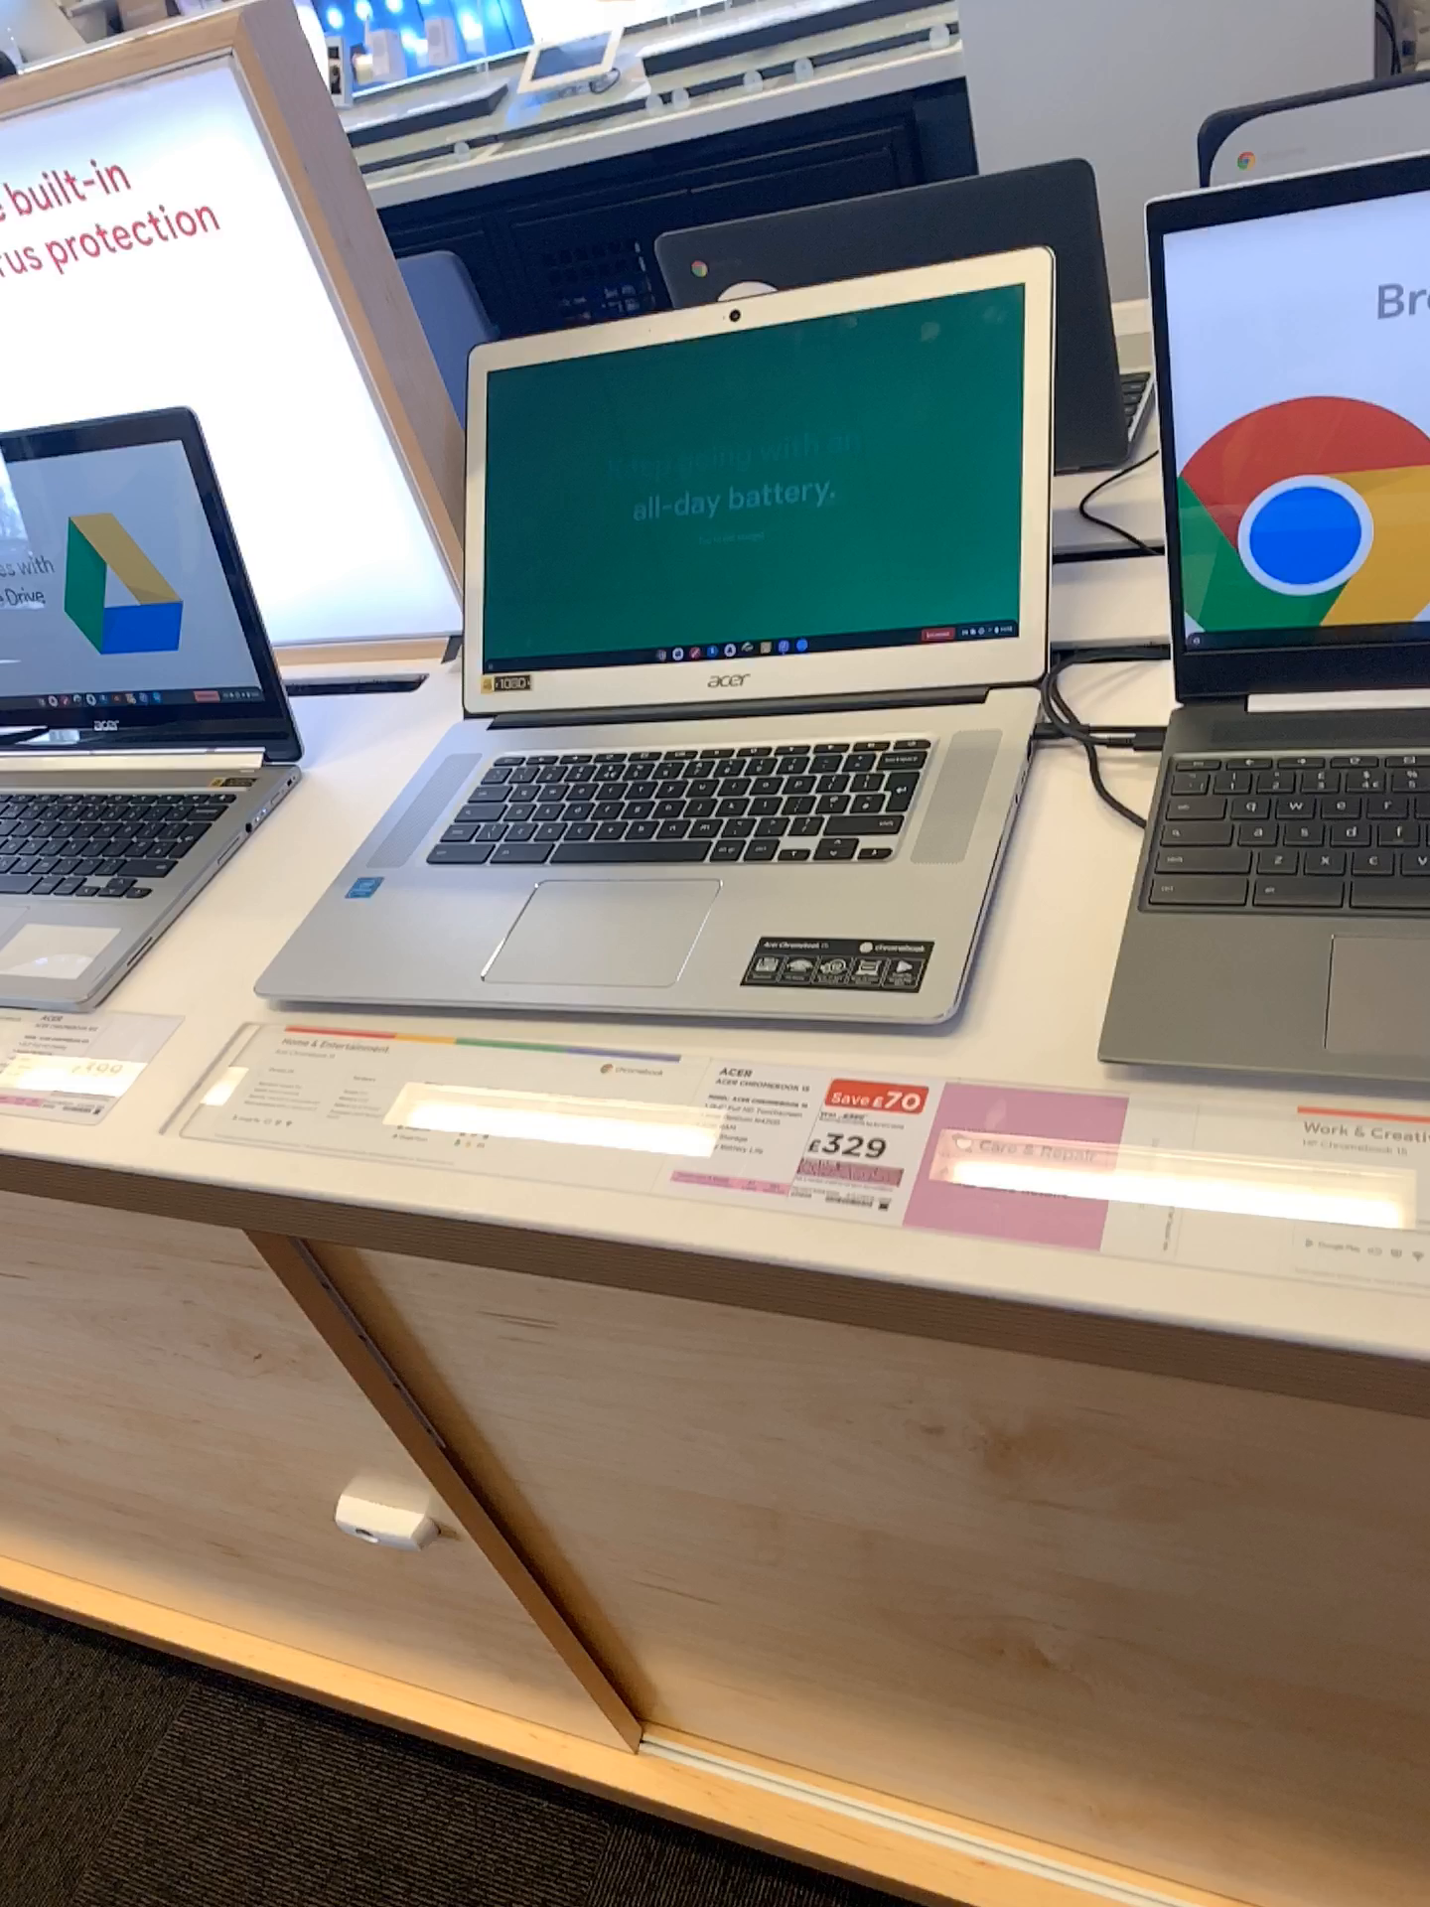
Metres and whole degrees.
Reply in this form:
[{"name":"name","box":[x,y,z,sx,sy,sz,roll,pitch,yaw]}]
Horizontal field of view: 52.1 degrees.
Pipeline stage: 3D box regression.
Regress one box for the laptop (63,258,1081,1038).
[{"name":"laptop","box":[-0.034,-0.176,0.784,0.375,0.168,0.433,1,43,24]}]
